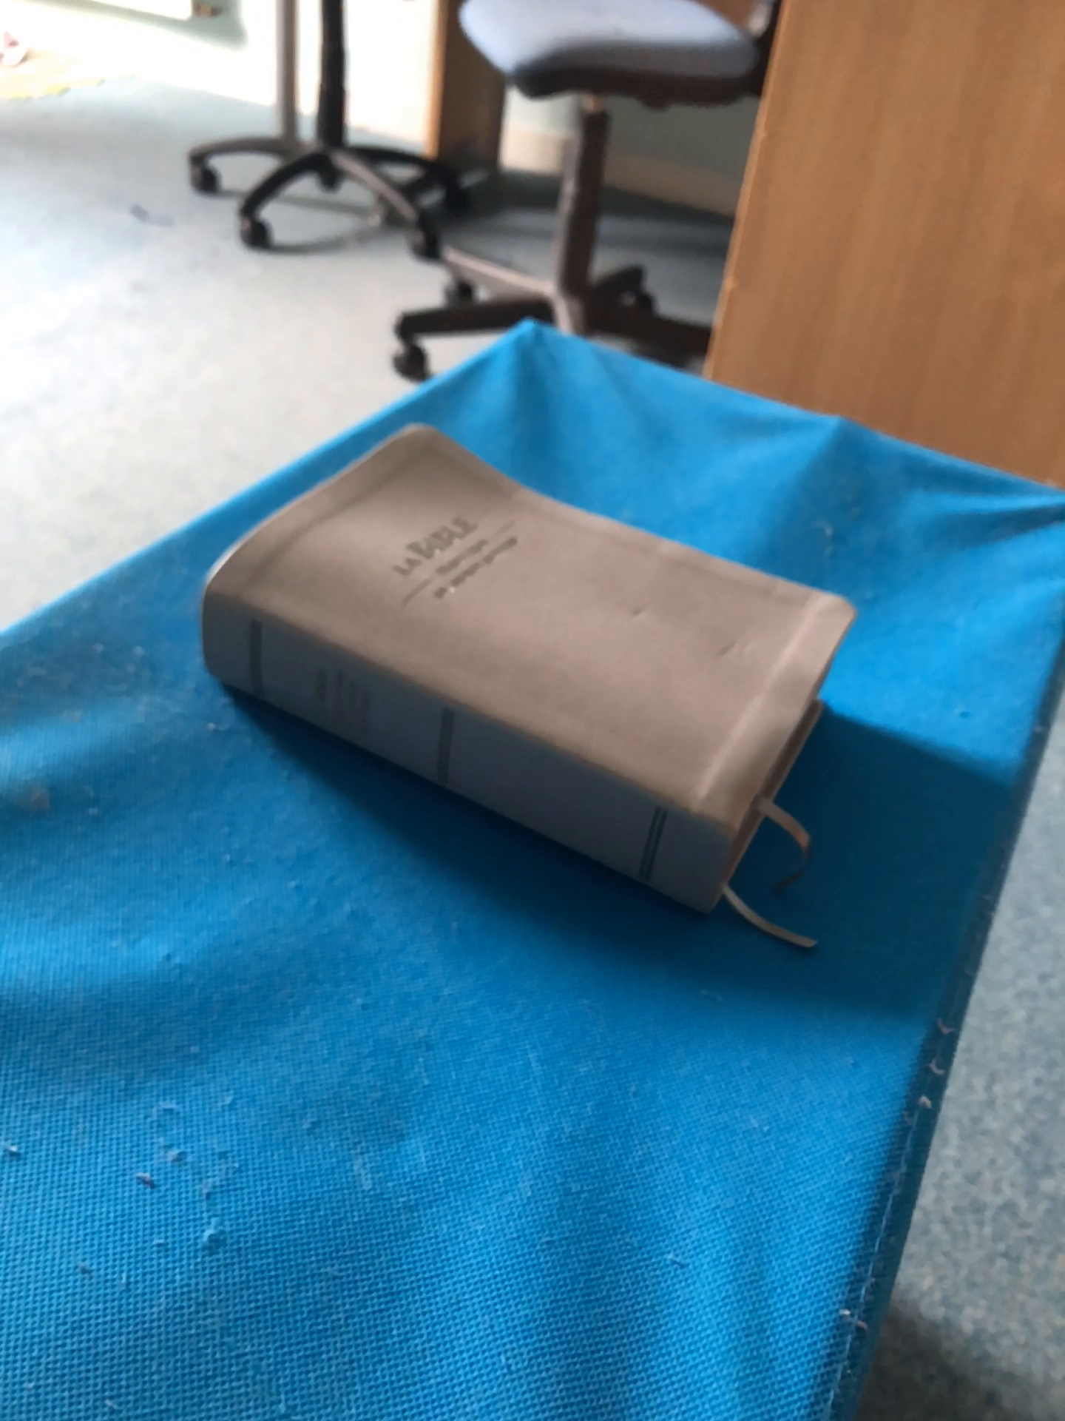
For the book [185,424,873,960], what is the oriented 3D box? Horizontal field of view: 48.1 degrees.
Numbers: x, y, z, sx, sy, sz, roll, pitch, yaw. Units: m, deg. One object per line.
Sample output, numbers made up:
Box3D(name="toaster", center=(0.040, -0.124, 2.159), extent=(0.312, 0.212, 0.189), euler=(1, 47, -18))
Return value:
Box3D(name="book", center=(0.001, -0.017, 0.387), extent=(0.180, 0.051, 0.122), euler=(25, 43, 16))
